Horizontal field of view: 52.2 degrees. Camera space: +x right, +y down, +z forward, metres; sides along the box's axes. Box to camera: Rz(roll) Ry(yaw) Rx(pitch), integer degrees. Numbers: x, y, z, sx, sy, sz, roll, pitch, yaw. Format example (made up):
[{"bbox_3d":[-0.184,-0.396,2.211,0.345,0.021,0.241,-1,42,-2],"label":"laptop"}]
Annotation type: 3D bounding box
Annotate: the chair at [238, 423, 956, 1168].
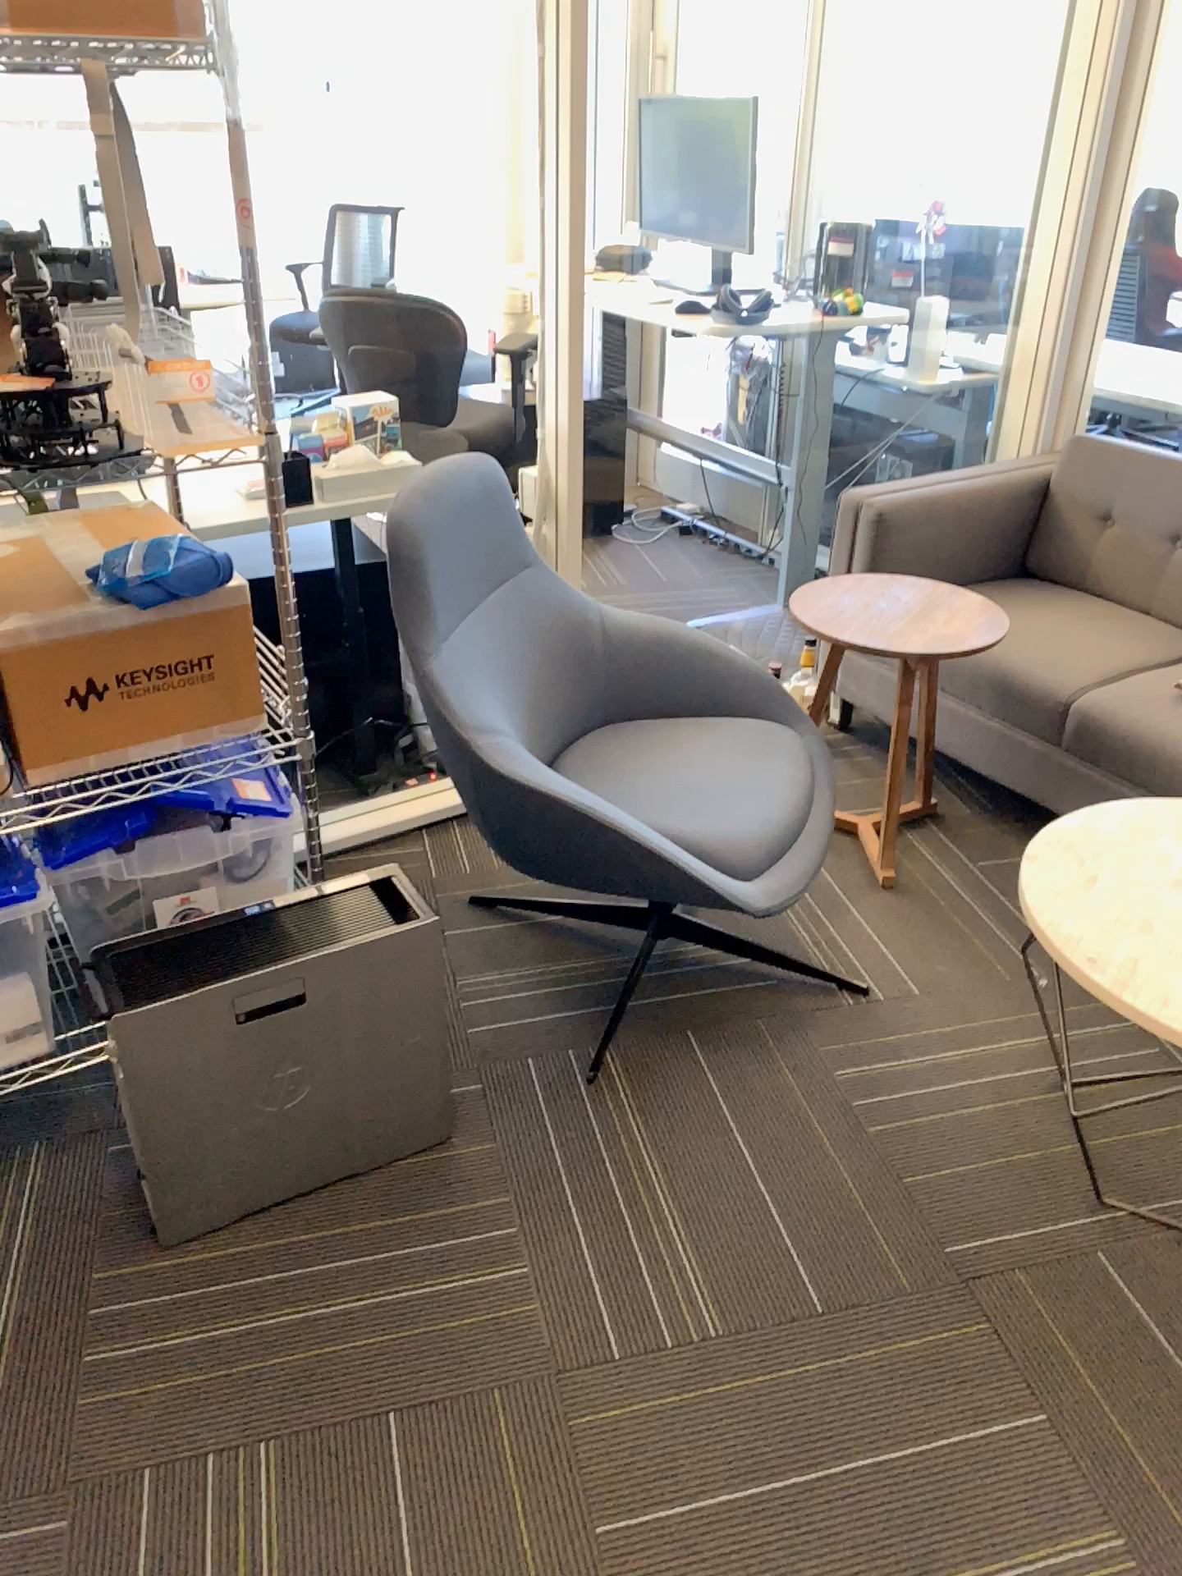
[{"bbox_3d":[0.060,-0.065,2.299,1.001,0.964,0.844,11,31,17],"label":"chair"}]
